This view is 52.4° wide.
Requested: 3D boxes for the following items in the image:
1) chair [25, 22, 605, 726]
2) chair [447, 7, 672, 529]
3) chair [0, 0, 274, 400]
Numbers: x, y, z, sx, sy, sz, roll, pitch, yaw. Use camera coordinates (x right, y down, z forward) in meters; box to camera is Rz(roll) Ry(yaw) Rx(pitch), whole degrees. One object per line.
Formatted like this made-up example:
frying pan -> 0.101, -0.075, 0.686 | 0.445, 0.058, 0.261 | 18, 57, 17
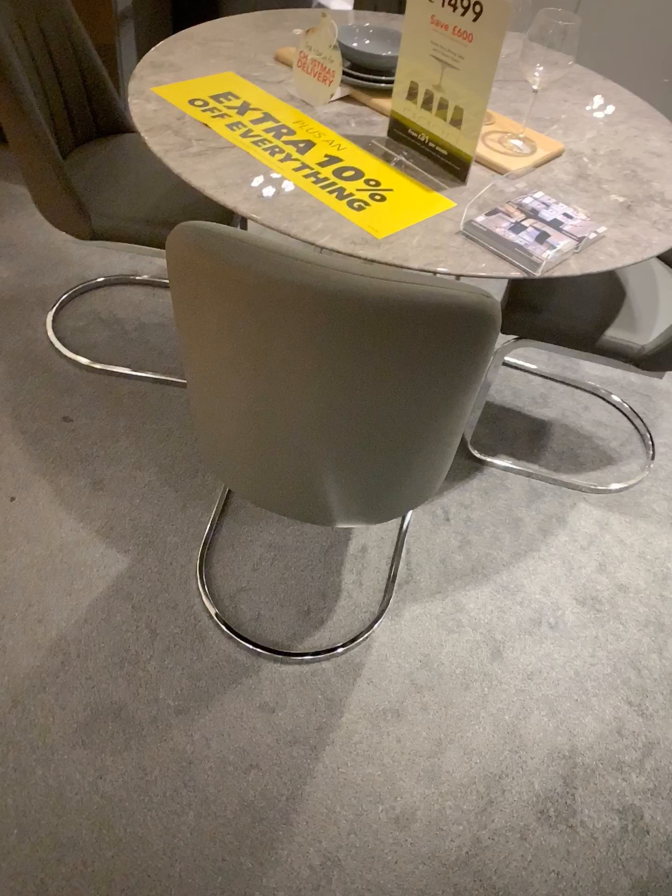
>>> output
chair -> -0.009, -0.082, 1.161 | 0.550, 0.883, 0.634 | 15, 47, 4
chair -> 0.677, -0.360, 1.539 | 0.578, 0.883, 0.525 | 16, 47, 5
chair -> -0.500, -0.656, 1.617 | 0.578, 0.883, 0.525 | 9, 47, -2
